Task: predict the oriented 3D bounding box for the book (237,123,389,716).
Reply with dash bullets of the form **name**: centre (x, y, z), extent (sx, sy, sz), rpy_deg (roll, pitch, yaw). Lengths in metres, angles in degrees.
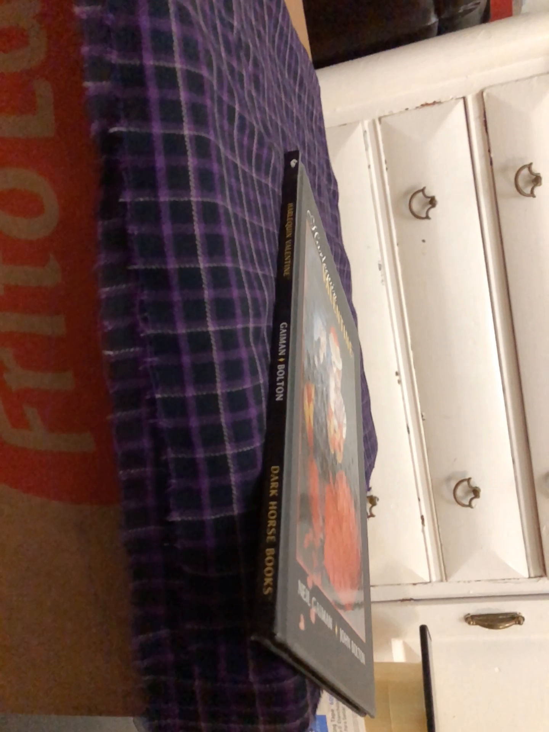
- **book**: centre (0.030, 0.025, 0.342), extent (0.180, 0.020, 0.281), rpy_deg (62, 24, -50)
